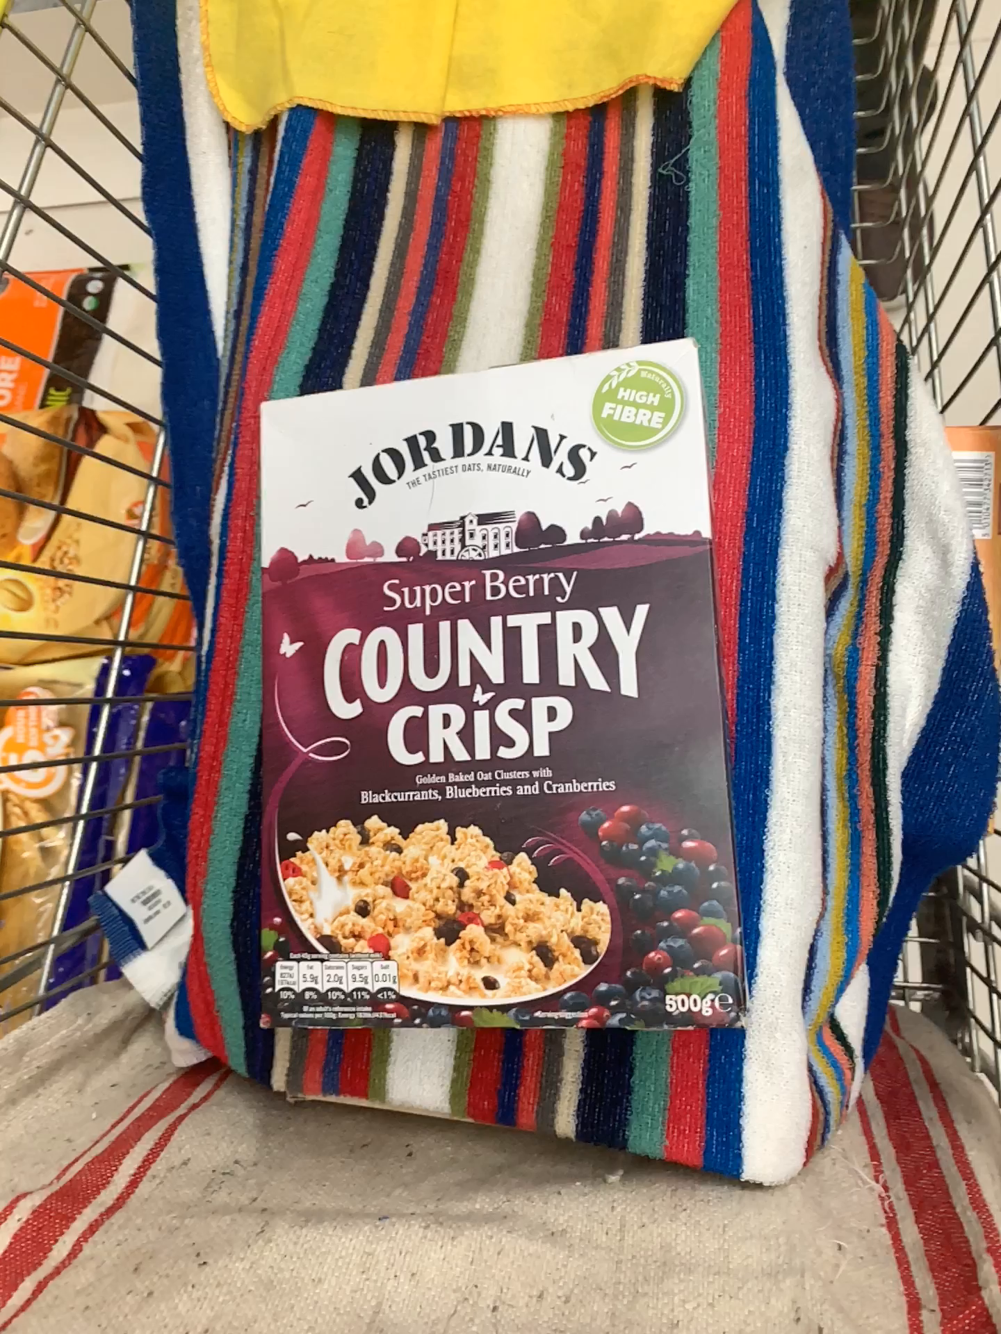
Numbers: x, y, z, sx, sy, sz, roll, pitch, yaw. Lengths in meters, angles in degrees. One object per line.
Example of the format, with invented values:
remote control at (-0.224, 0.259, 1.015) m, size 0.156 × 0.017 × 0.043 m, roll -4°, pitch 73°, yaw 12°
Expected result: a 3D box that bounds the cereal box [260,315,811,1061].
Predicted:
cereal box at (0.008, 0.011, 0.378) m, size 0.180 × 0.060 × 0.240 m, roll -5°, pitch 79°, yaw 15°
